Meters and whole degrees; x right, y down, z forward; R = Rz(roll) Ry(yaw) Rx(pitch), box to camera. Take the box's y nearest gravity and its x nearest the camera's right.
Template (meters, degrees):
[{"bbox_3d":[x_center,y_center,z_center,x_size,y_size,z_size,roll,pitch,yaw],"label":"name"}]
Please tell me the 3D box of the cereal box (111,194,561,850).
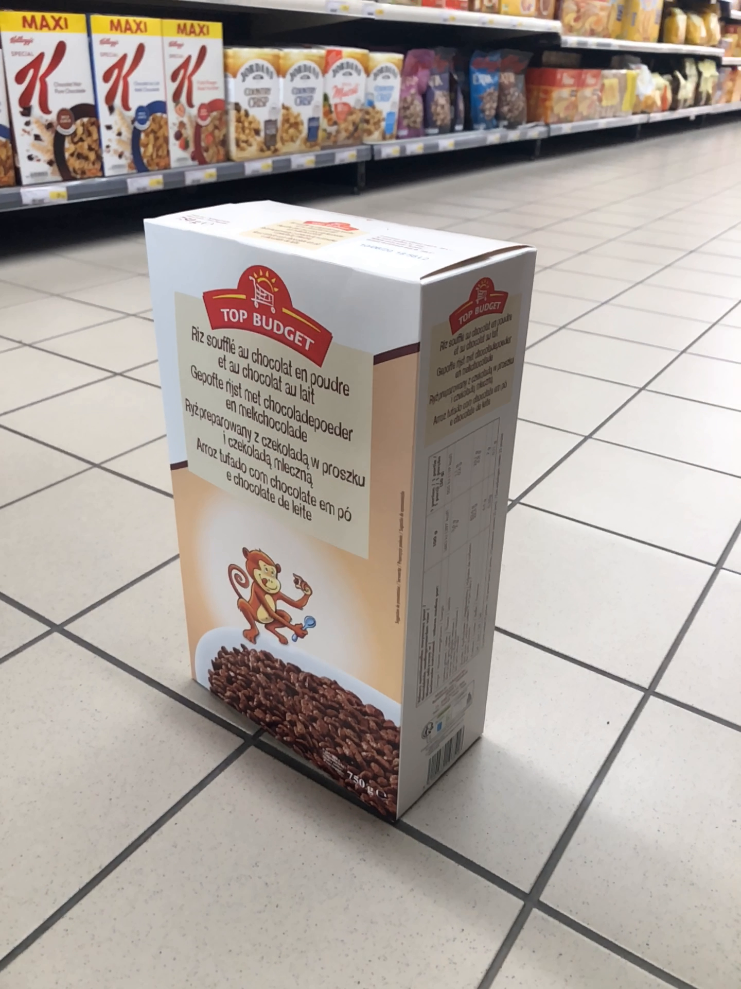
[{"bbox_3d":[-0.028,0.006,0.485,0.210,0.318,0.111,23,34,35],"label":"cereal box"}]
